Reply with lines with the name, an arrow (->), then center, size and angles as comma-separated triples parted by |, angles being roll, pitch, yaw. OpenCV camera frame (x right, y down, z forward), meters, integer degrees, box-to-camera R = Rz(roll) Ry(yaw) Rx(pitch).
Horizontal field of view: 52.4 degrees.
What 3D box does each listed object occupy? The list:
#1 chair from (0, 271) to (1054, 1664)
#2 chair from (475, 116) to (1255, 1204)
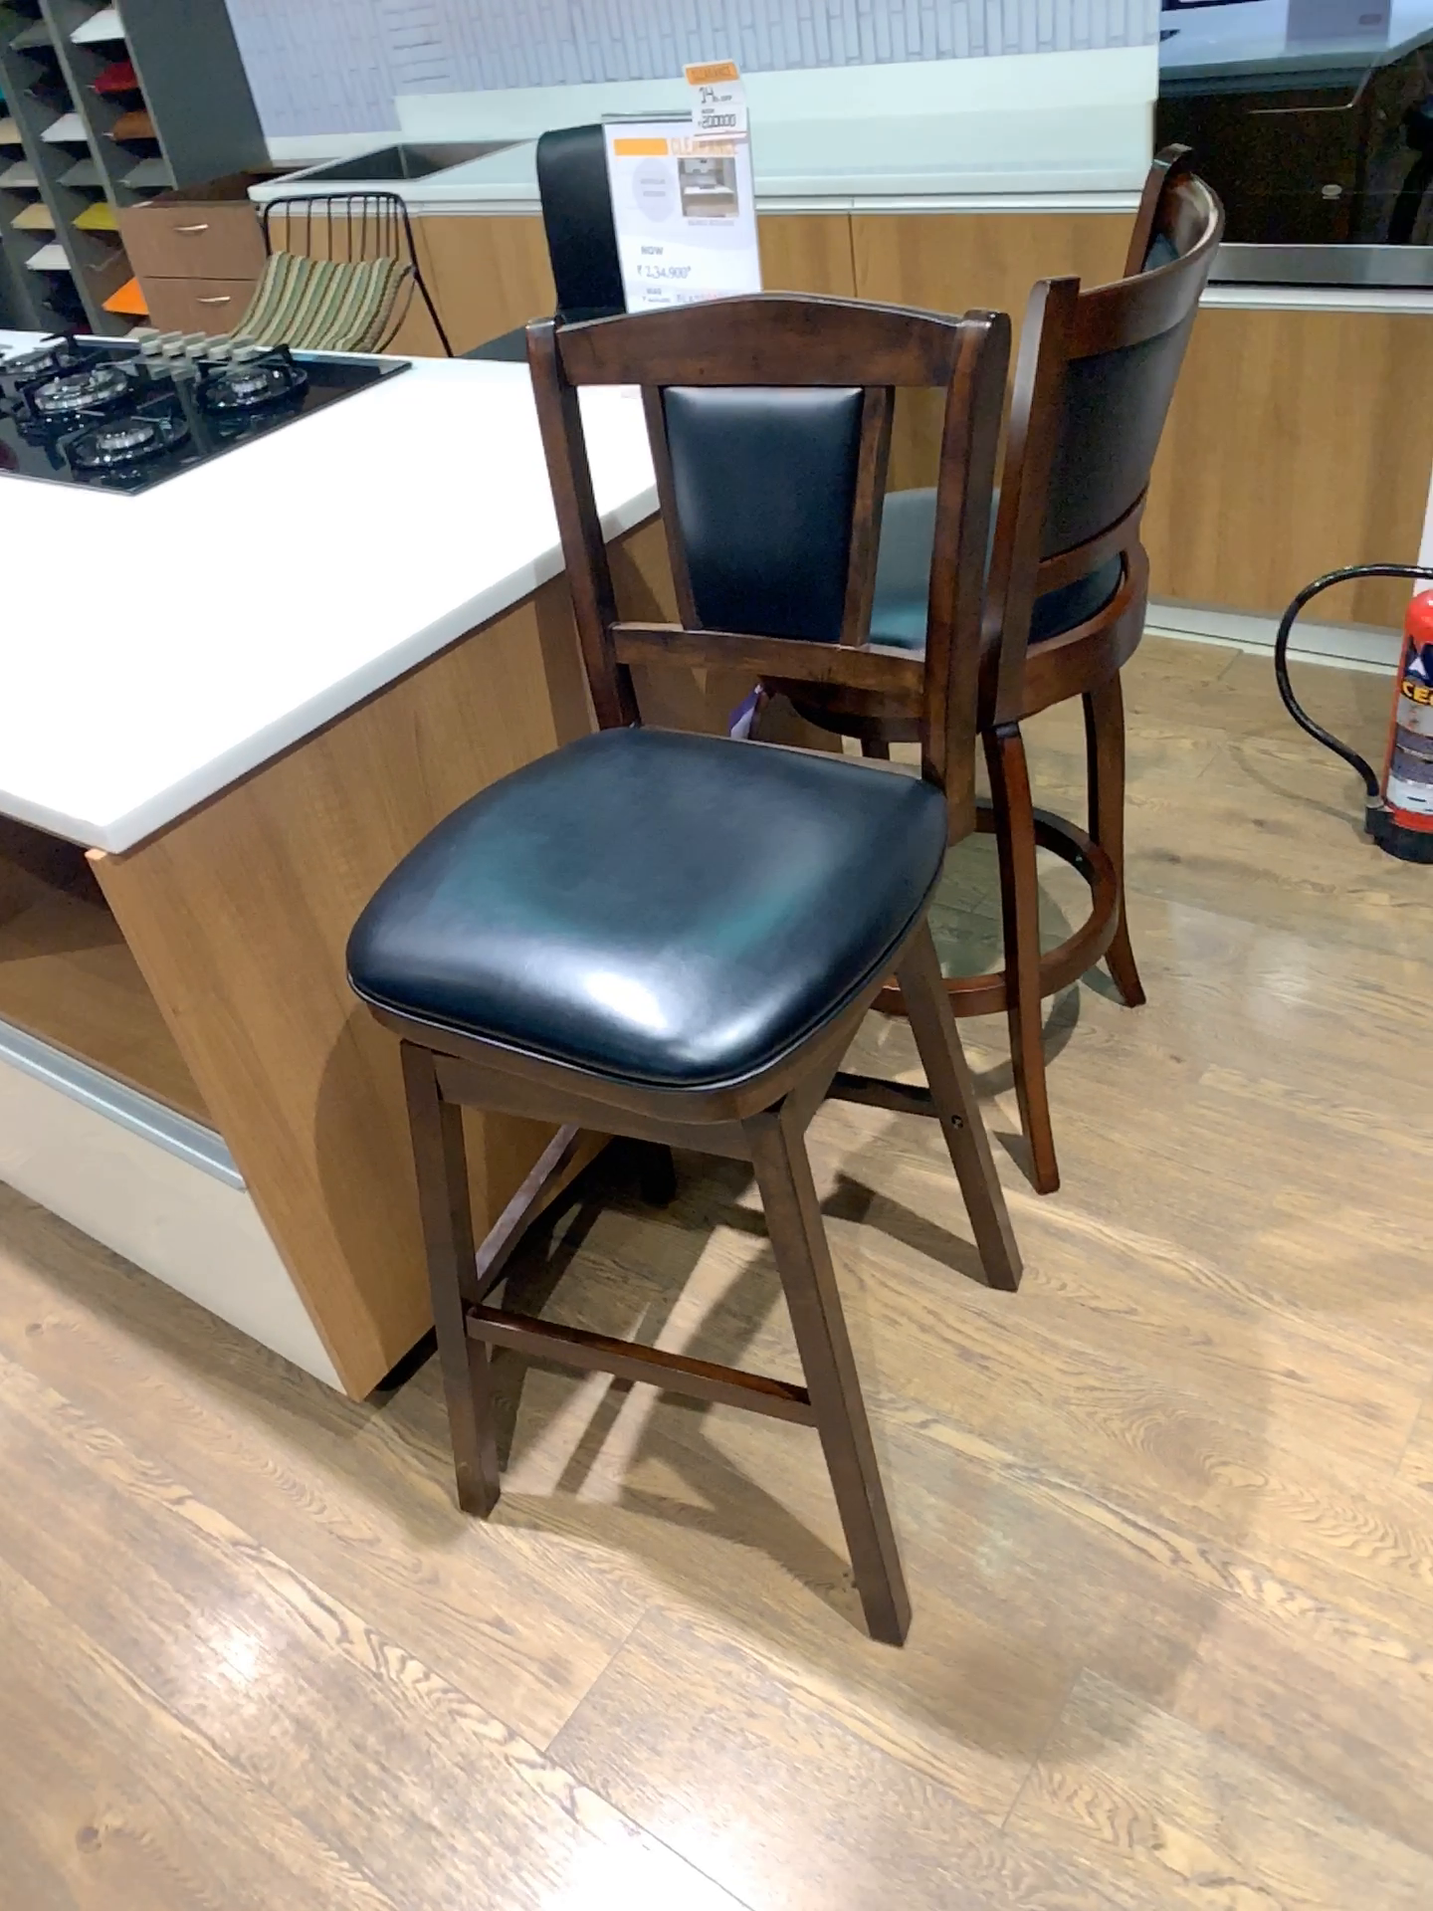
chair -> -0.048, 0.021, 1.318 | 0.581, 1.026, 0.572 | 8, 40, 23
chair -> 0.225, -0.336, 1.720 | 0.571, 1.026, 0.551 | 15, 43, 29
